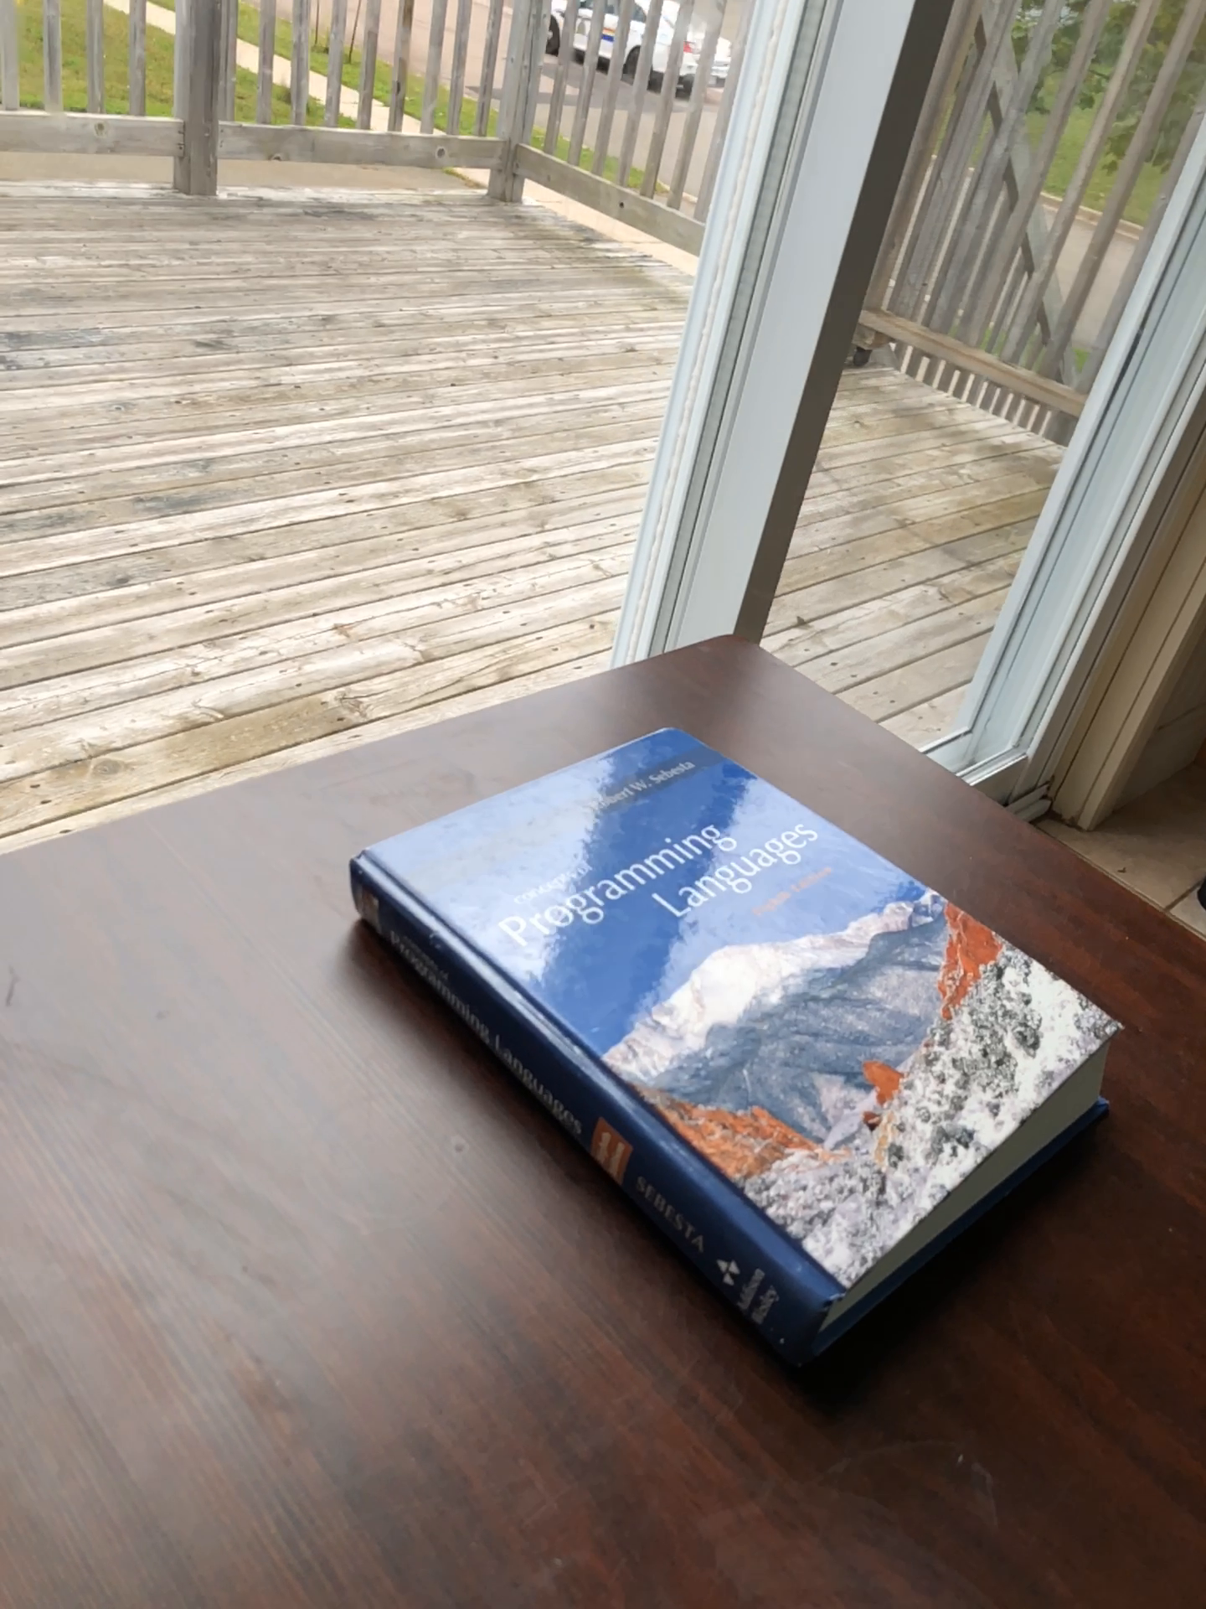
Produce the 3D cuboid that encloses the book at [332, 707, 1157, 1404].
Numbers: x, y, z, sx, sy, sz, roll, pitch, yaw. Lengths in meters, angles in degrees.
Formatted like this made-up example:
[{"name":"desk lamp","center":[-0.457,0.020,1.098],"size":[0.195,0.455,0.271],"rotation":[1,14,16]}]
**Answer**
[{"name":"book","center":[0.049,0.065,0.496],"size":[0.195,0.048,0.236],"rotation":[-21,48,-40]}]
